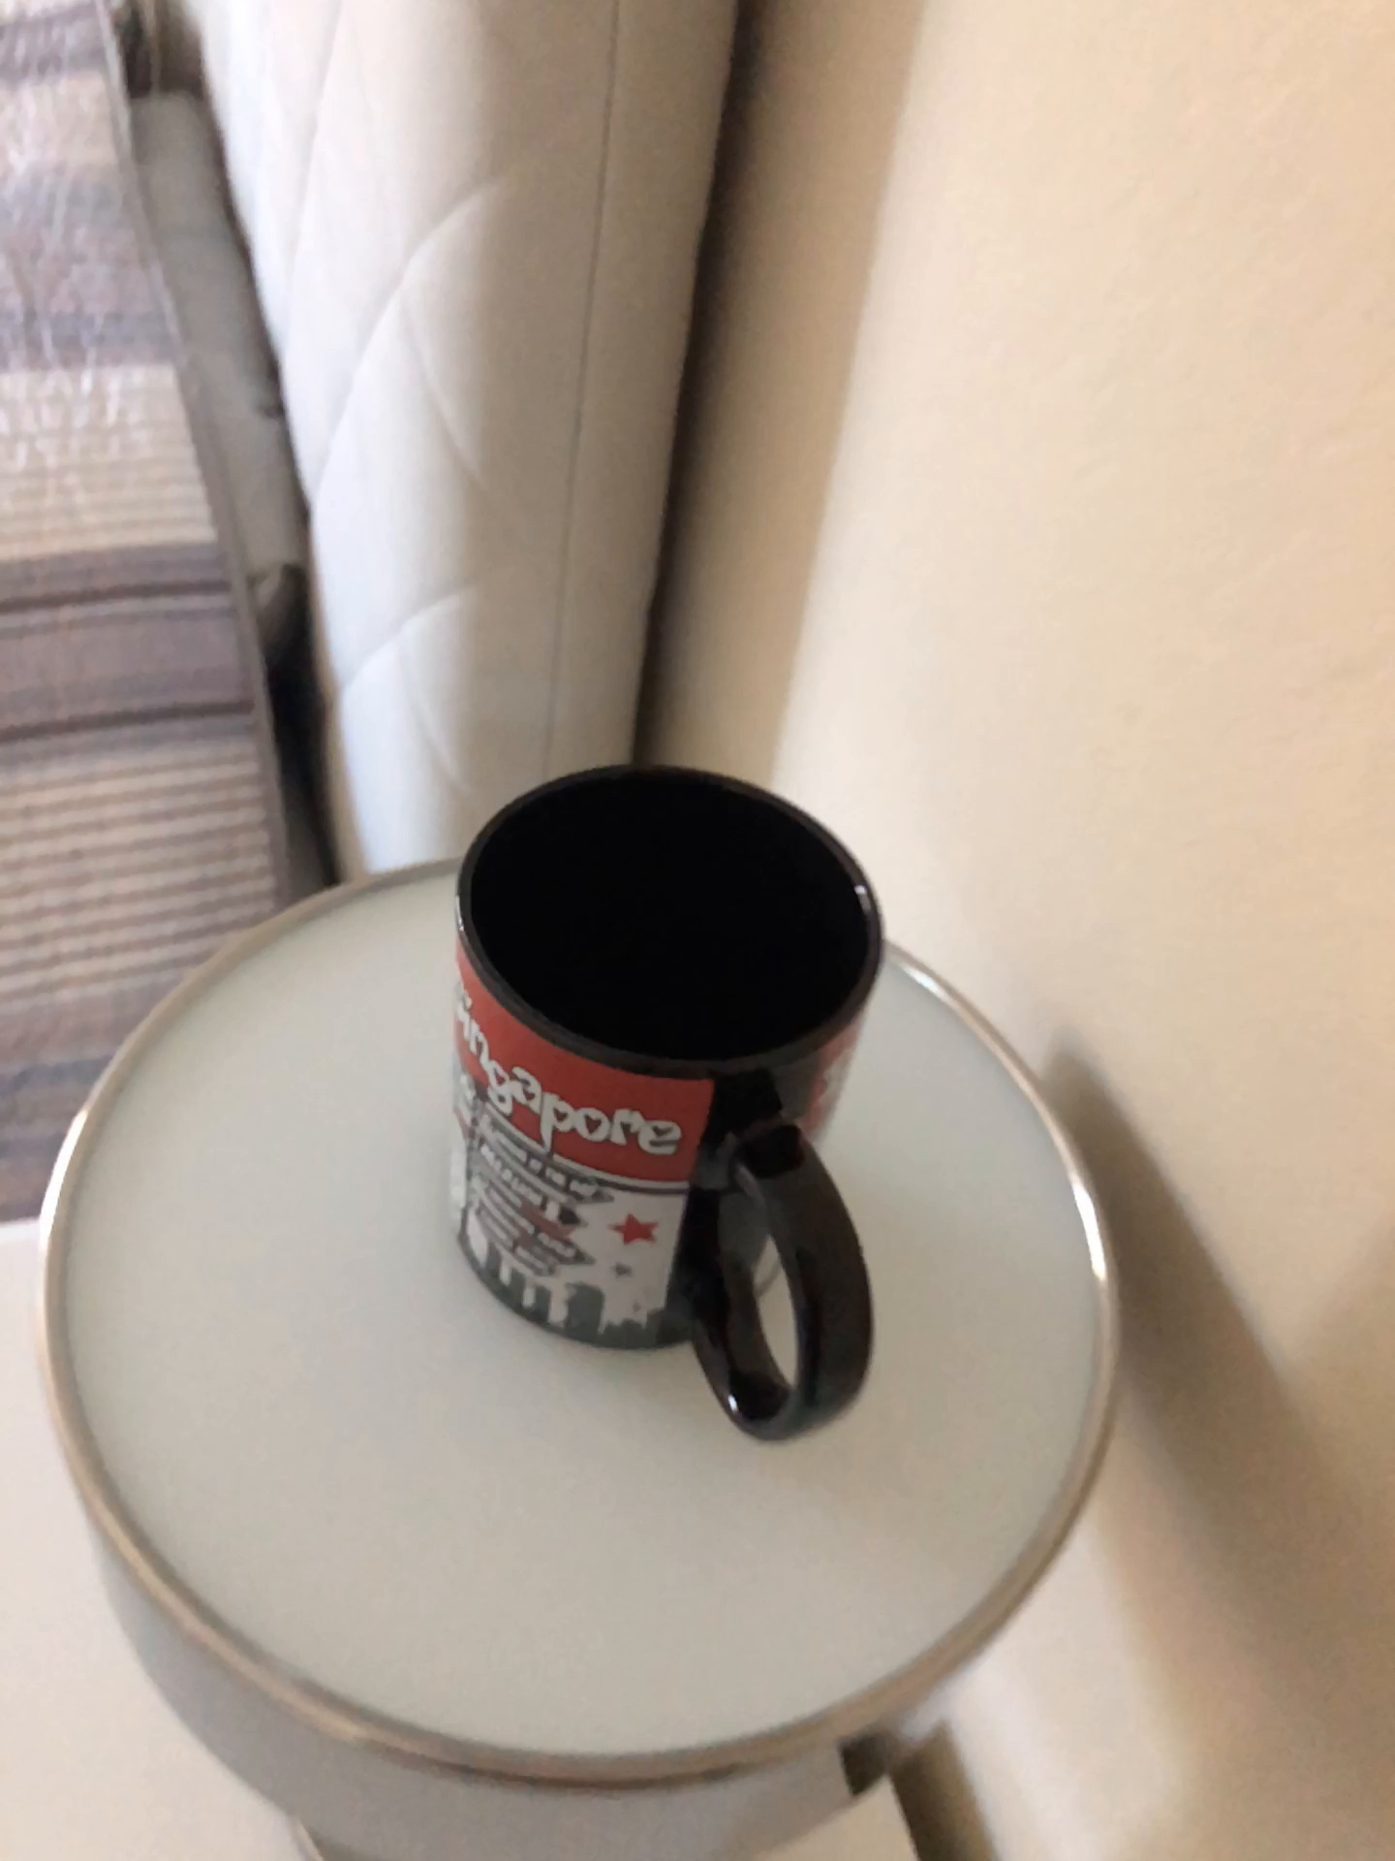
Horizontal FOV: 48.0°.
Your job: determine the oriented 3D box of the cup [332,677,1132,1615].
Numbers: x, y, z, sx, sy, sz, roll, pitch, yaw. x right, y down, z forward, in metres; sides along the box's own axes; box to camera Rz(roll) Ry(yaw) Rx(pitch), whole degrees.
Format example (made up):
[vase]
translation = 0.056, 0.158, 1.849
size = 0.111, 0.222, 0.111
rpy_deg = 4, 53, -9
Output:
[cup]
translation = -0.005, 0.036, 0.310
size = 0.090, 0.100, 0.130
rpy_deg = -16, 51, -25
